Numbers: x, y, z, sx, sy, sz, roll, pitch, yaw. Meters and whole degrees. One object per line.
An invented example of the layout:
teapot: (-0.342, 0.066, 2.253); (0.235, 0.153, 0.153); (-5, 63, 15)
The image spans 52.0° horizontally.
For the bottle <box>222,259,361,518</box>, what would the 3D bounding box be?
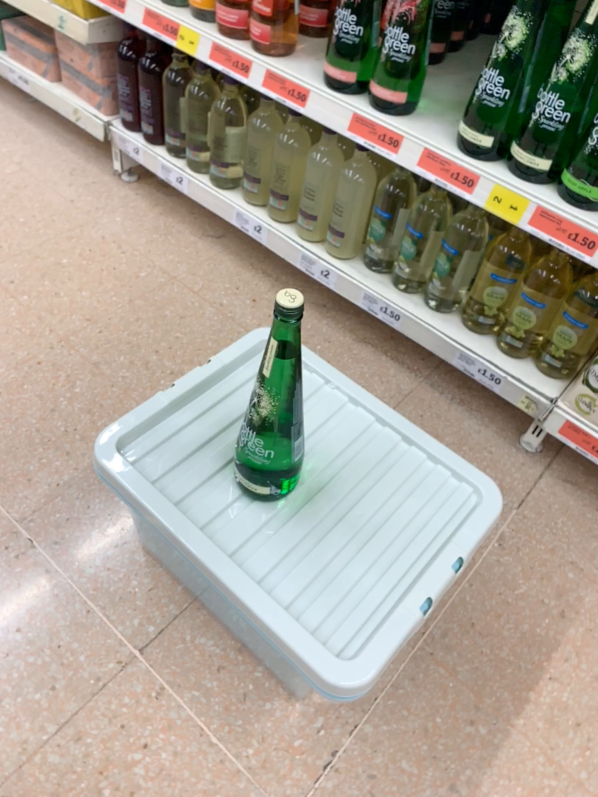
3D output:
bottle: (-0.020, 0.004, 0.681); (0.093, 0.297, 0.084); (-31, 61, -29)
